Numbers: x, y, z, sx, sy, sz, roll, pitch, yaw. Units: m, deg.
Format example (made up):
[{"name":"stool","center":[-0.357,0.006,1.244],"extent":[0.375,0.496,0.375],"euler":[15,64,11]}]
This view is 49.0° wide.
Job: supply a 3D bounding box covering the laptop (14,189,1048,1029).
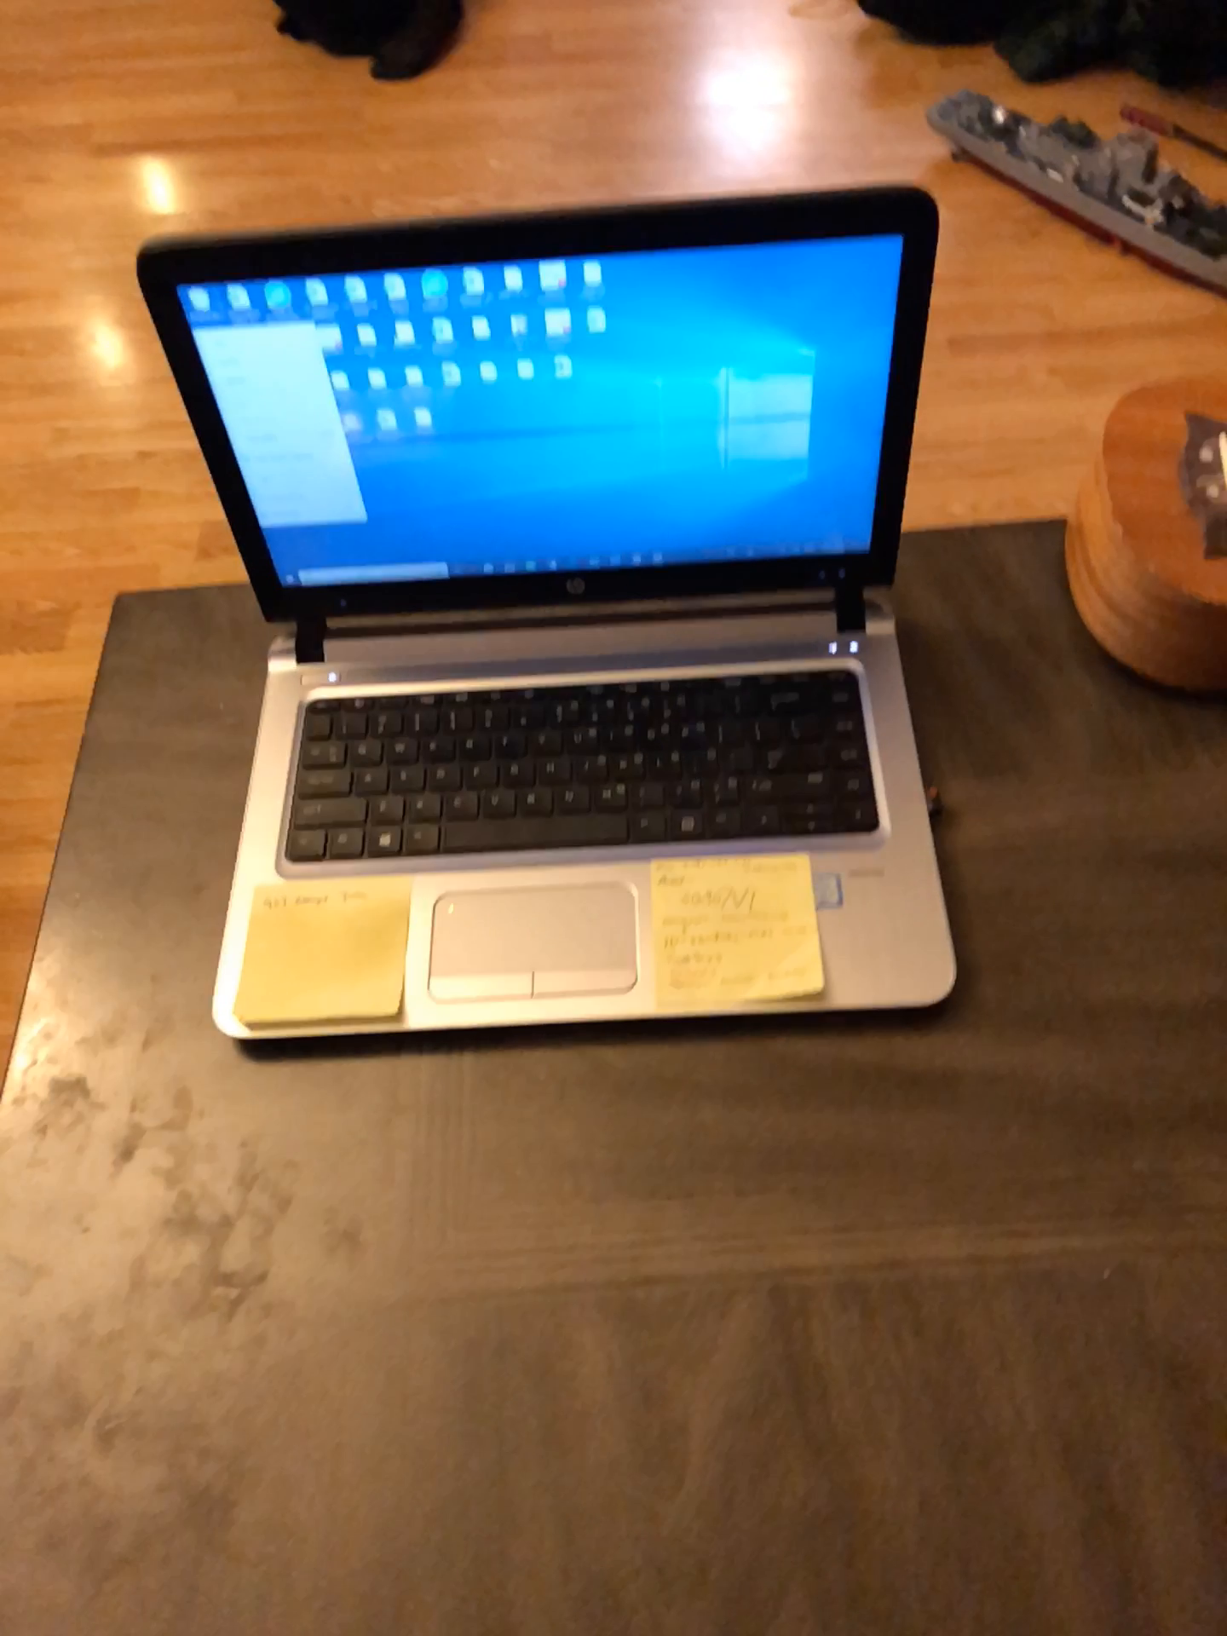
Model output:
[{"name":"laptop","center":[-0.024,-0.080,0.568],"extent":[0.317,0.217,0.247],"euler":[-3,56,2]}]
